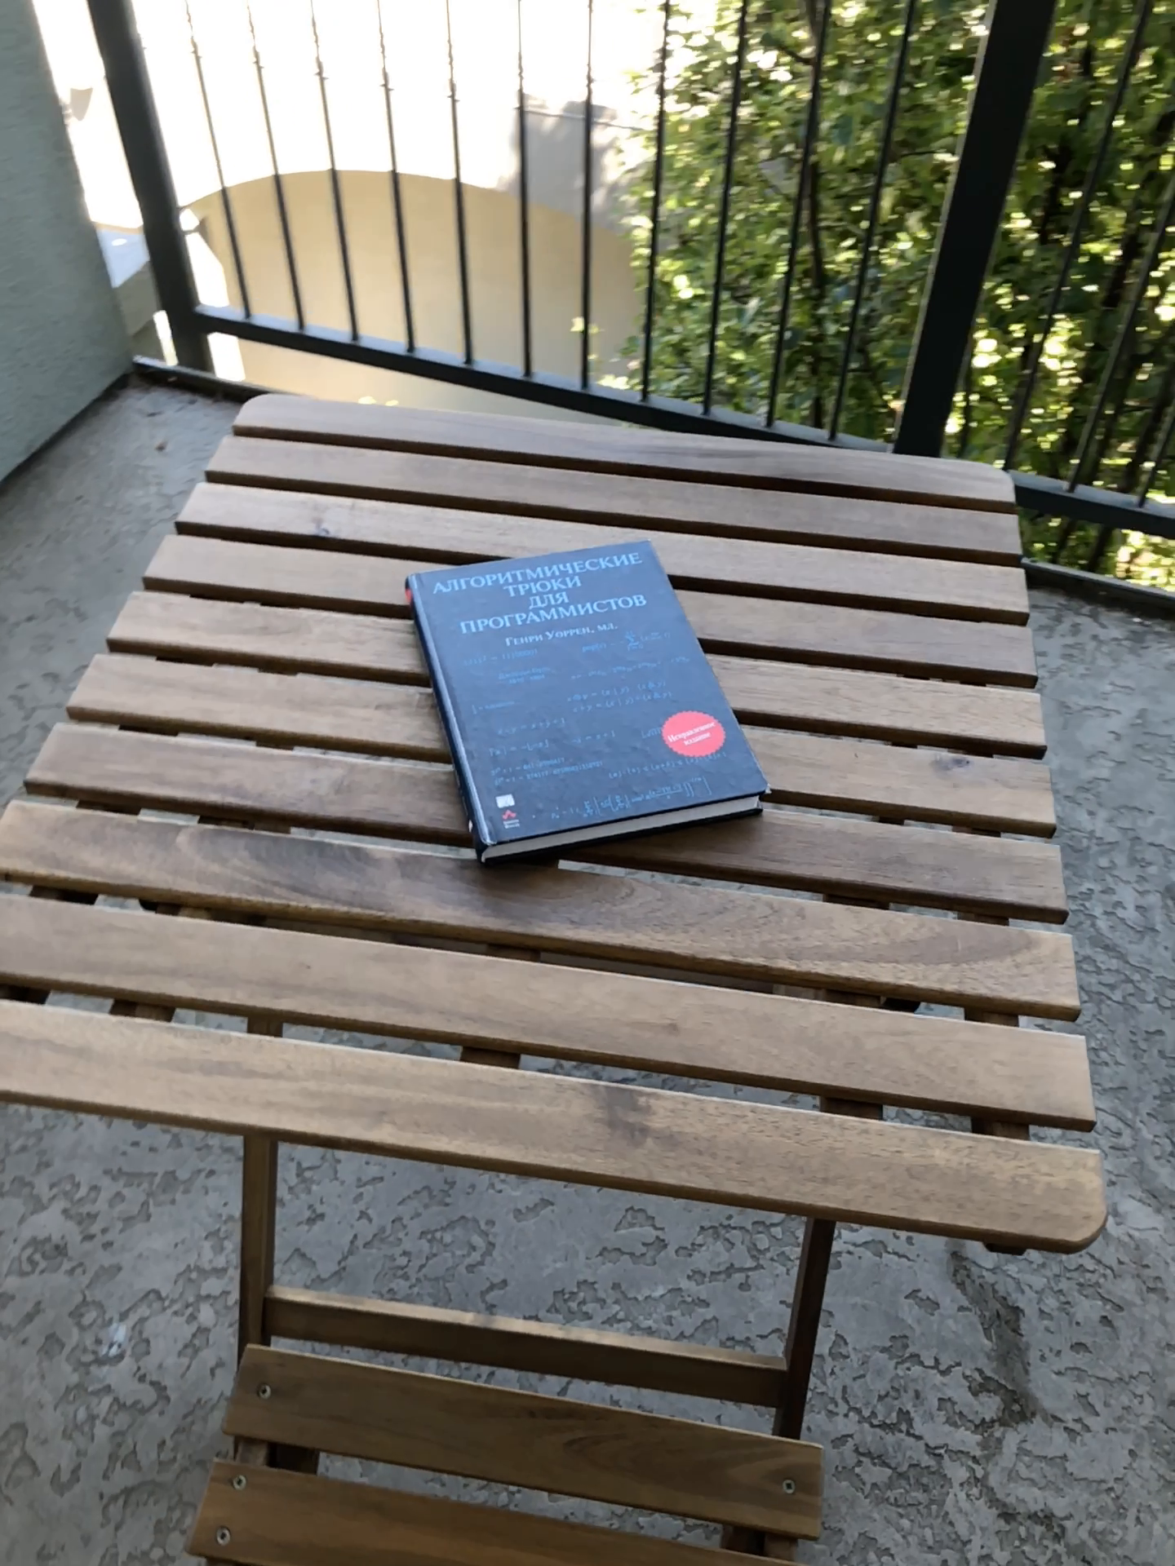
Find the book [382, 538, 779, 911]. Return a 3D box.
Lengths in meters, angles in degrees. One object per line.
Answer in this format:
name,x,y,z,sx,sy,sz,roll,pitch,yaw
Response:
book,-0.014,-0.048,0.796,0.180,0.030,0.251,-11,50,-11
